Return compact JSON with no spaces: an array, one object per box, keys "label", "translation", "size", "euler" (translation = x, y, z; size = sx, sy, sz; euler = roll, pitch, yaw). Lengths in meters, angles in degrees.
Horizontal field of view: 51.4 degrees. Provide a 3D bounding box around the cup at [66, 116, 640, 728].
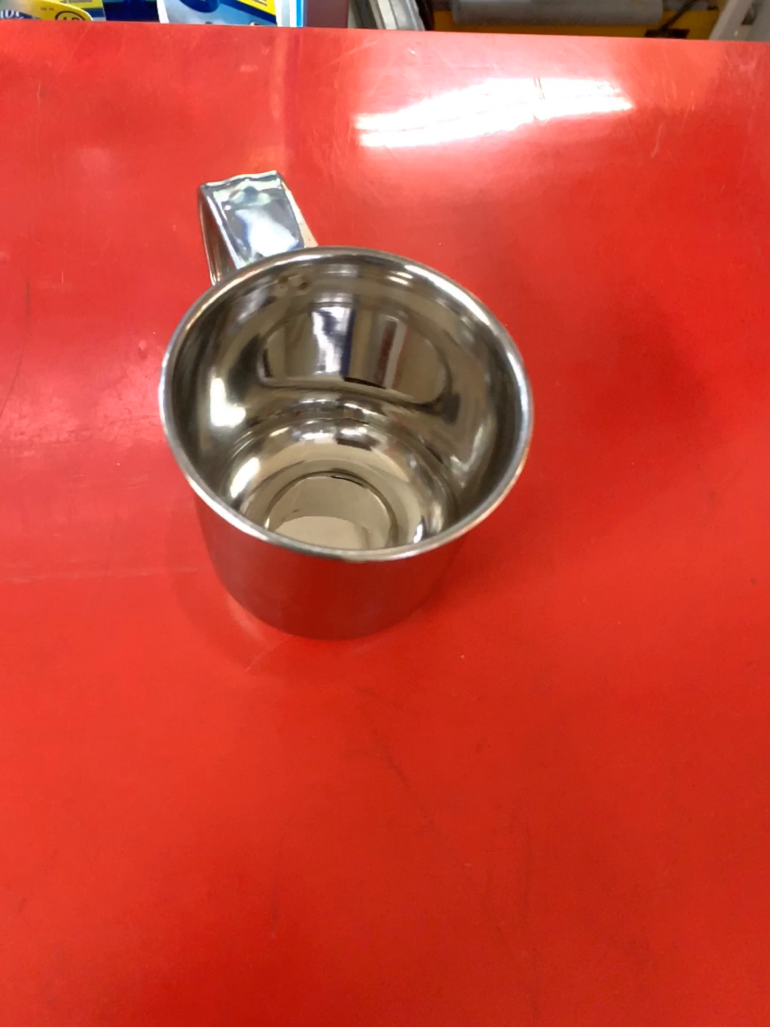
[{"label":"cup","translation":[-0.014,-0.023,0.195],"size":[0.080,0.070,0.110],"euler":[-21,67,-16]}]
